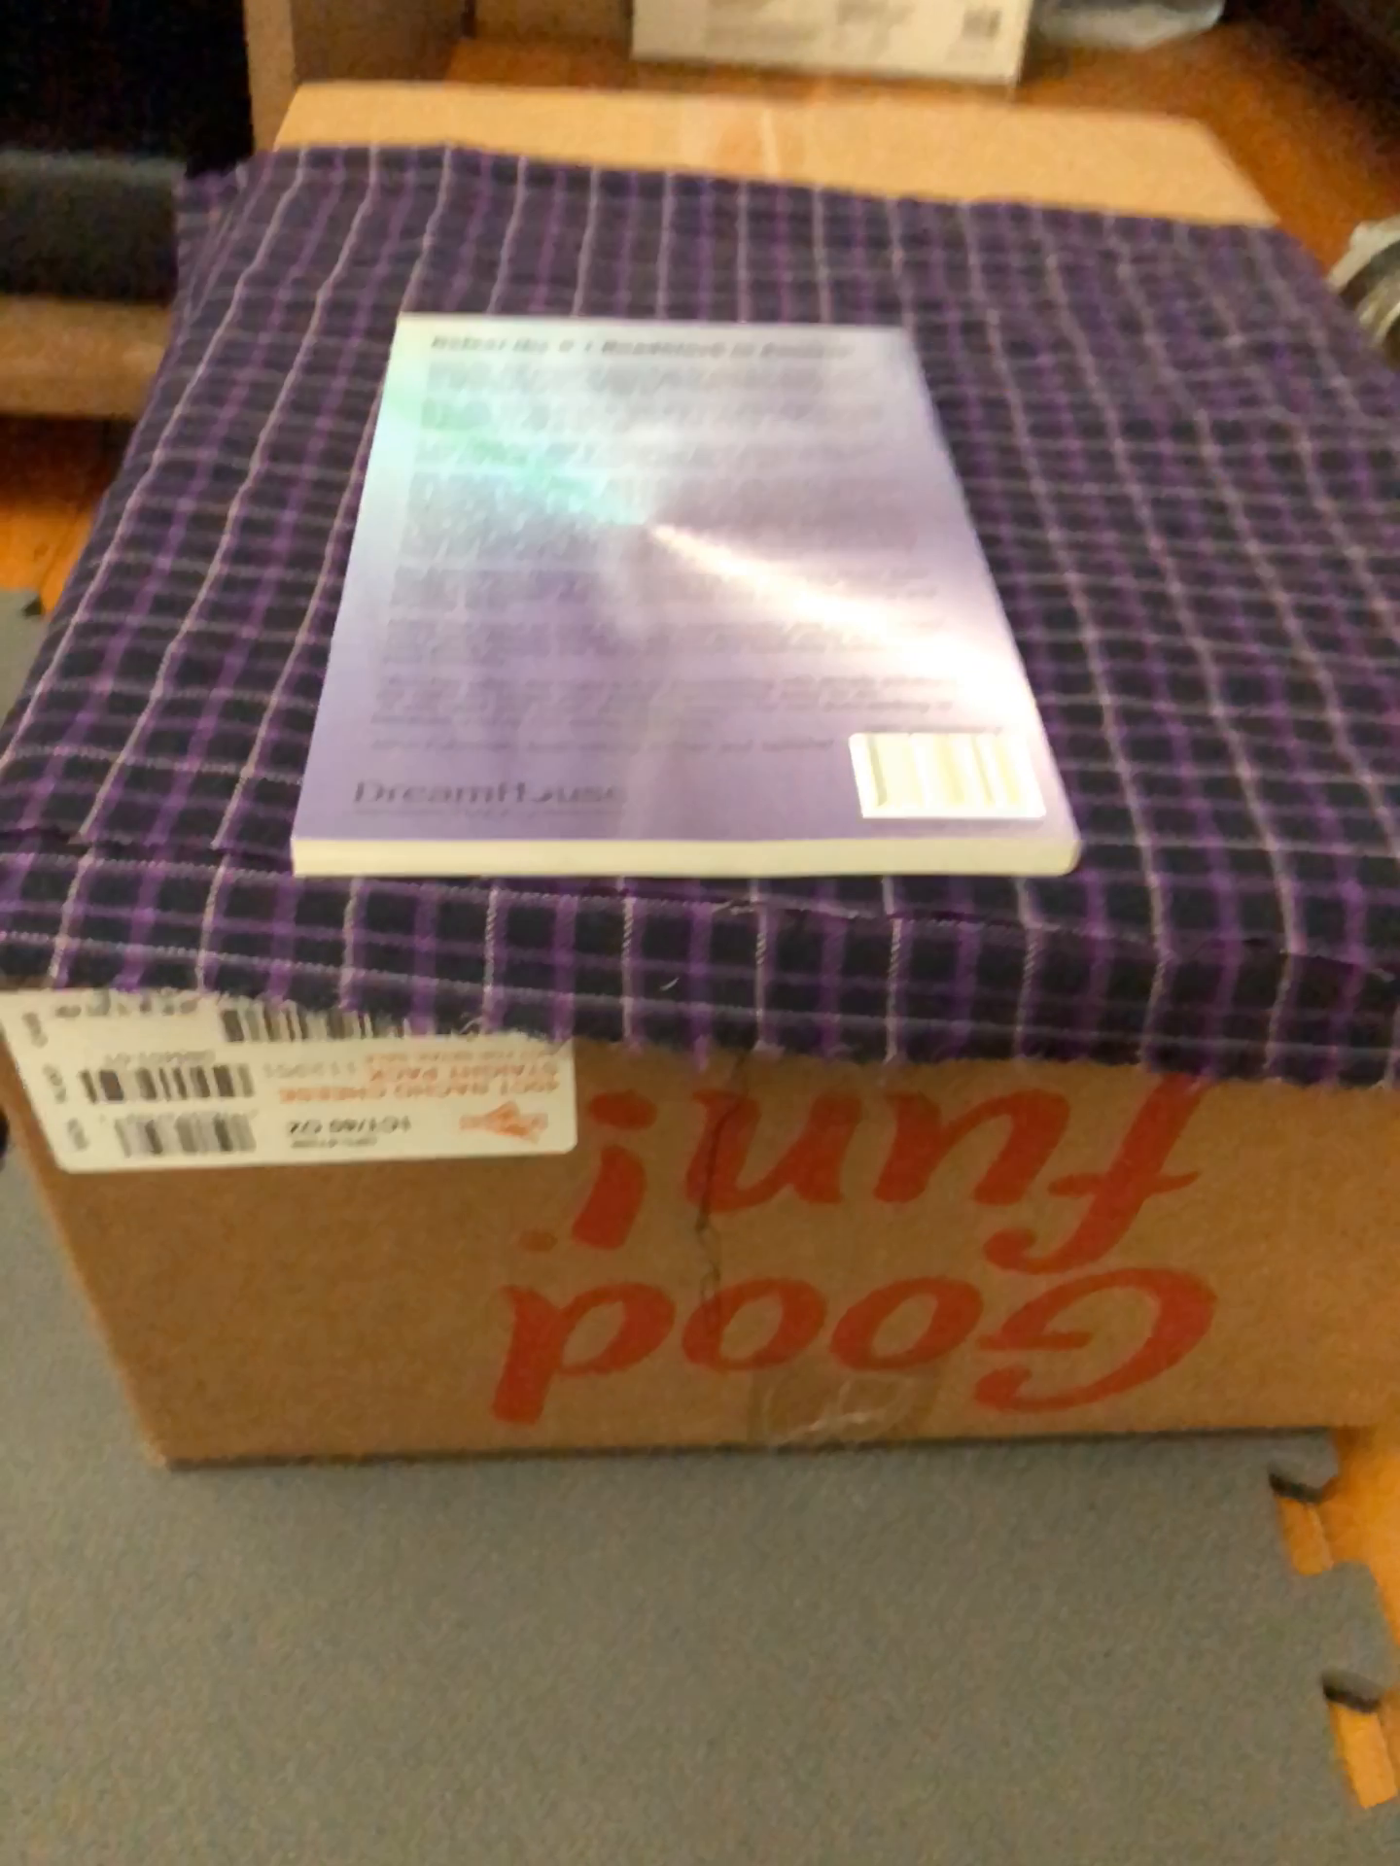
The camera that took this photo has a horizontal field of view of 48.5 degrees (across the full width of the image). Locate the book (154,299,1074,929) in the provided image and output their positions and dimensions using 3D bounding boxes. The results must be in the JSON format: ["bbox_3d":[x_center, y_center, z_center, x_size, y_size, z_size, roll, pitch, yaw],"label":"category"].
[{"bbox_3d":[-0.020,-0.087,0.355,0.160,0.020,0.221,0,45,-4],"label":"book"}]
